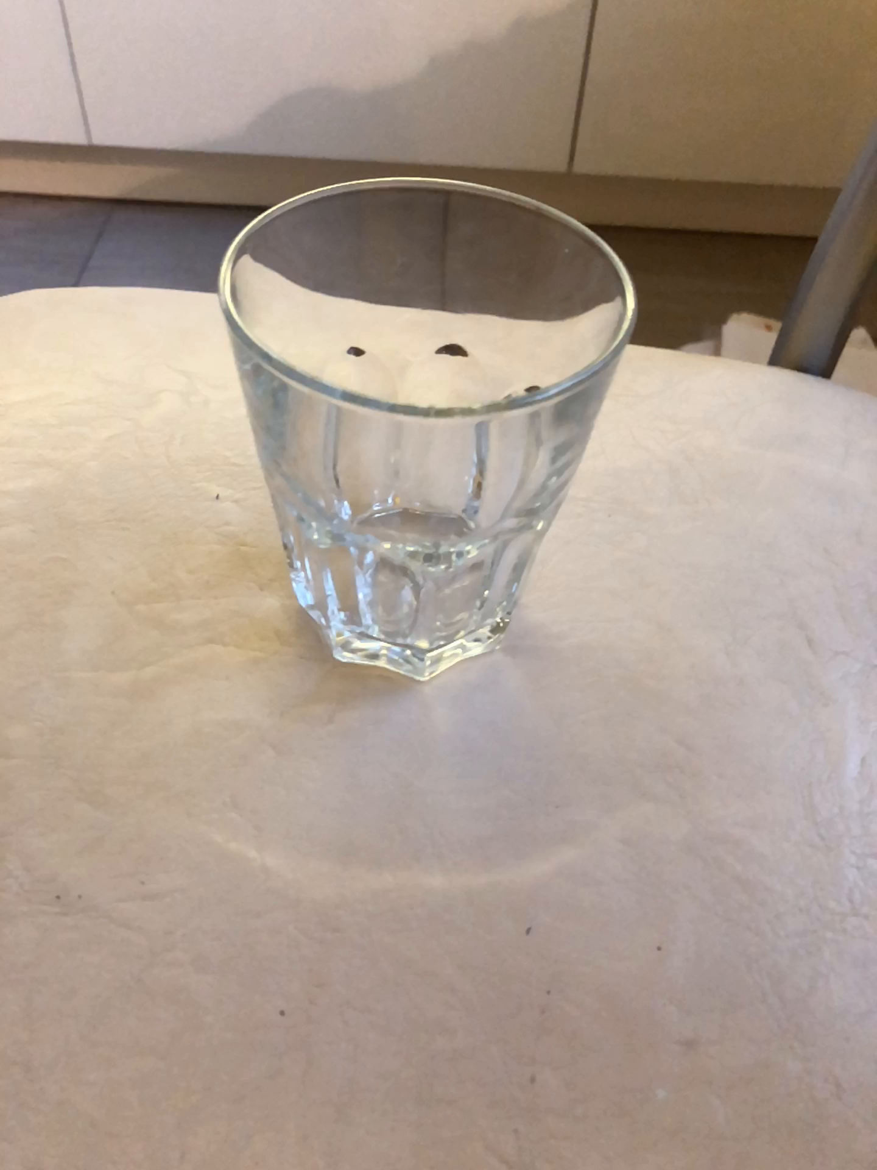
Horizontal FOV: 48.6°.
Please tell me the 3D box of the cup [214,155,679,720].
[{"bbox_3d":[-0.005,-0.033,0.228,0.080,0.099,0.081,2,48,-2],"label":"cup"}]
